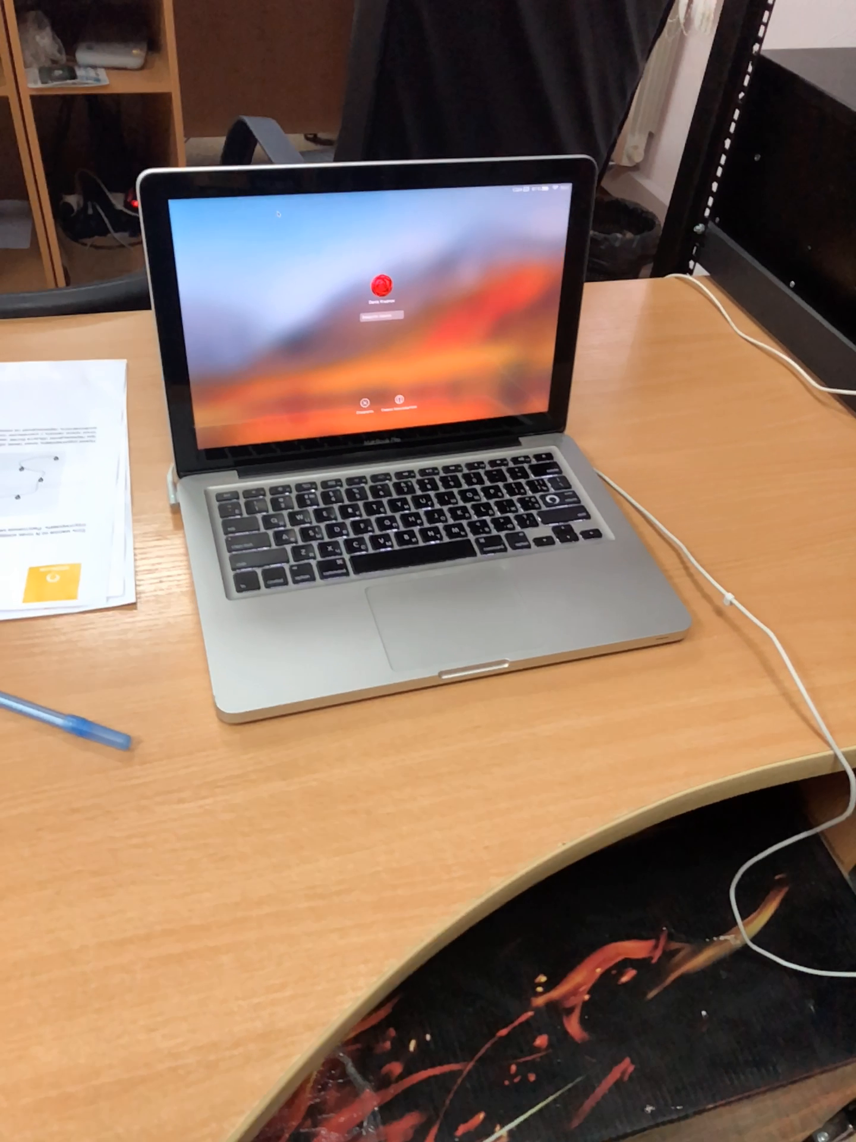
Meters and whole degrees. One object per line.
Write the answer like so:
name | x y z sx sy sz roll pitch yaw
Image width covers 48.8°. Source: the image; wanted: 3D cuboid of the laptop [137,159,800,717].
laptop | -0.001 -0.106 0.612 0.316 0.207 0.267 -9 46 -17
